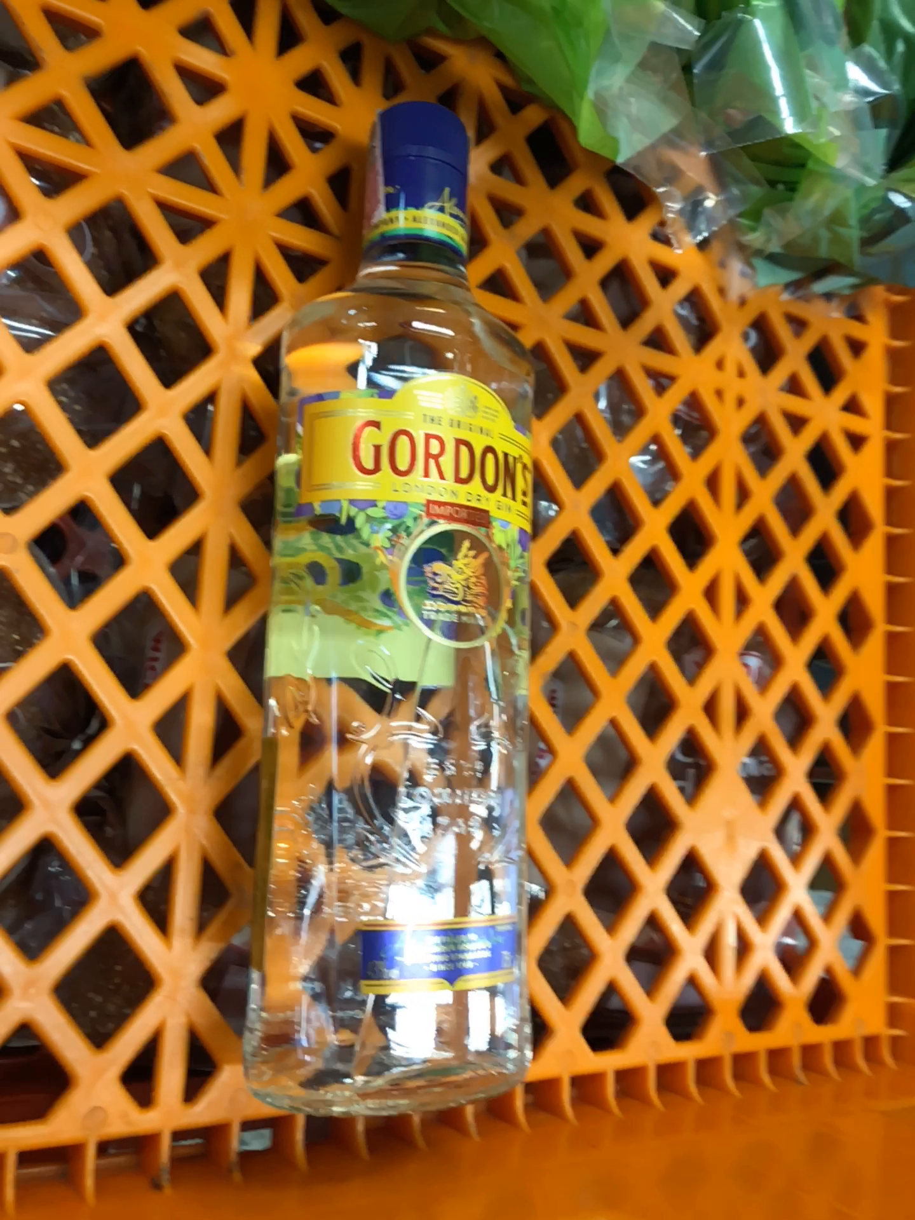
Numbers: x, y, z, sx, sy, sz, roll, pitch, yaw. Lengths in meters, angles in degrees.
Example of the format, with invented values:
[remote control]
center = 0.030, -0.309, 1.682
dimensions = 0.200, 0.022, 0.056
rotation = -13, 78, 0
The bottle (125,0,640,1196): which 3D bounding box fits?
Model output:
[bottle]
center = -0.020, -0.023, 0.300
dimensions = 0.101, 0.099, 0.310
rotation = 7, 81, -34
